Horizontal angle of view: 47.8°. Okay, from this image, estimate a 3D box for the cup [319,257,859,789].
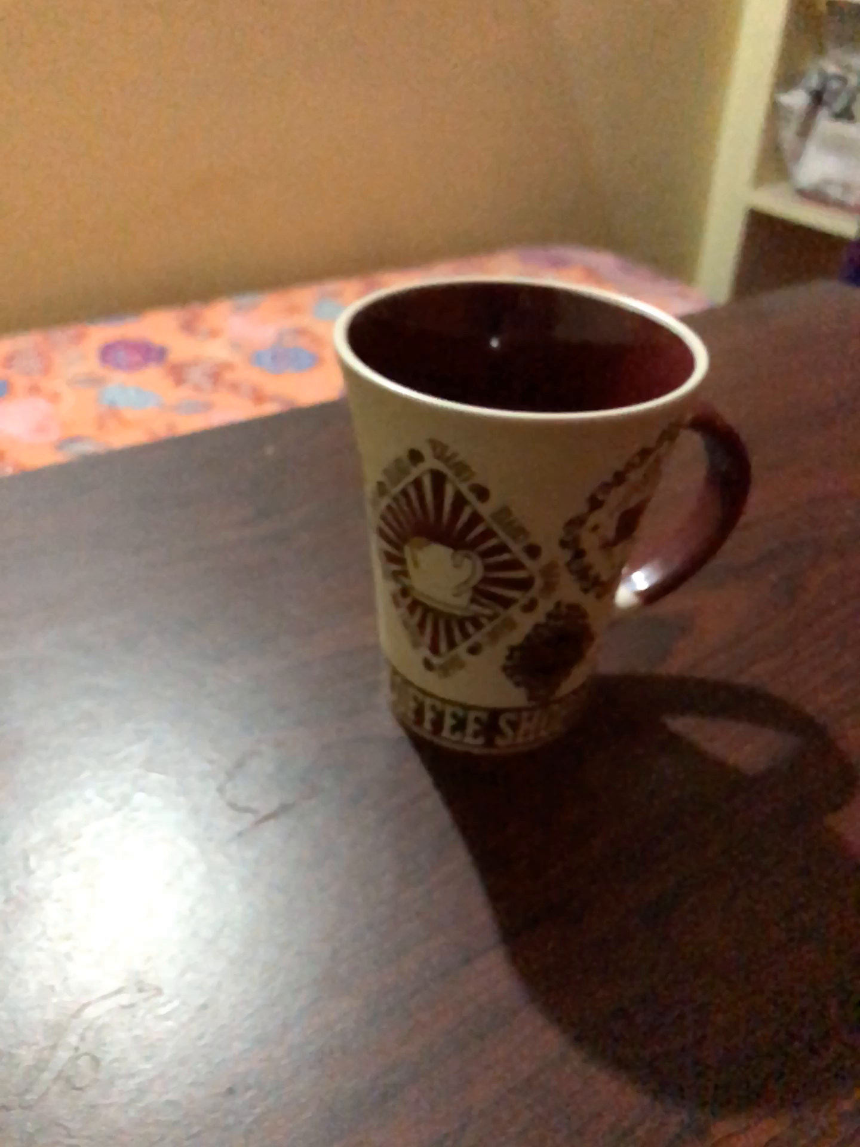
[{"bbox_3d":[0.038,-0.022,0.273,0.120,0.099,0.101,-7,35,-14],"label":"cup"}]
